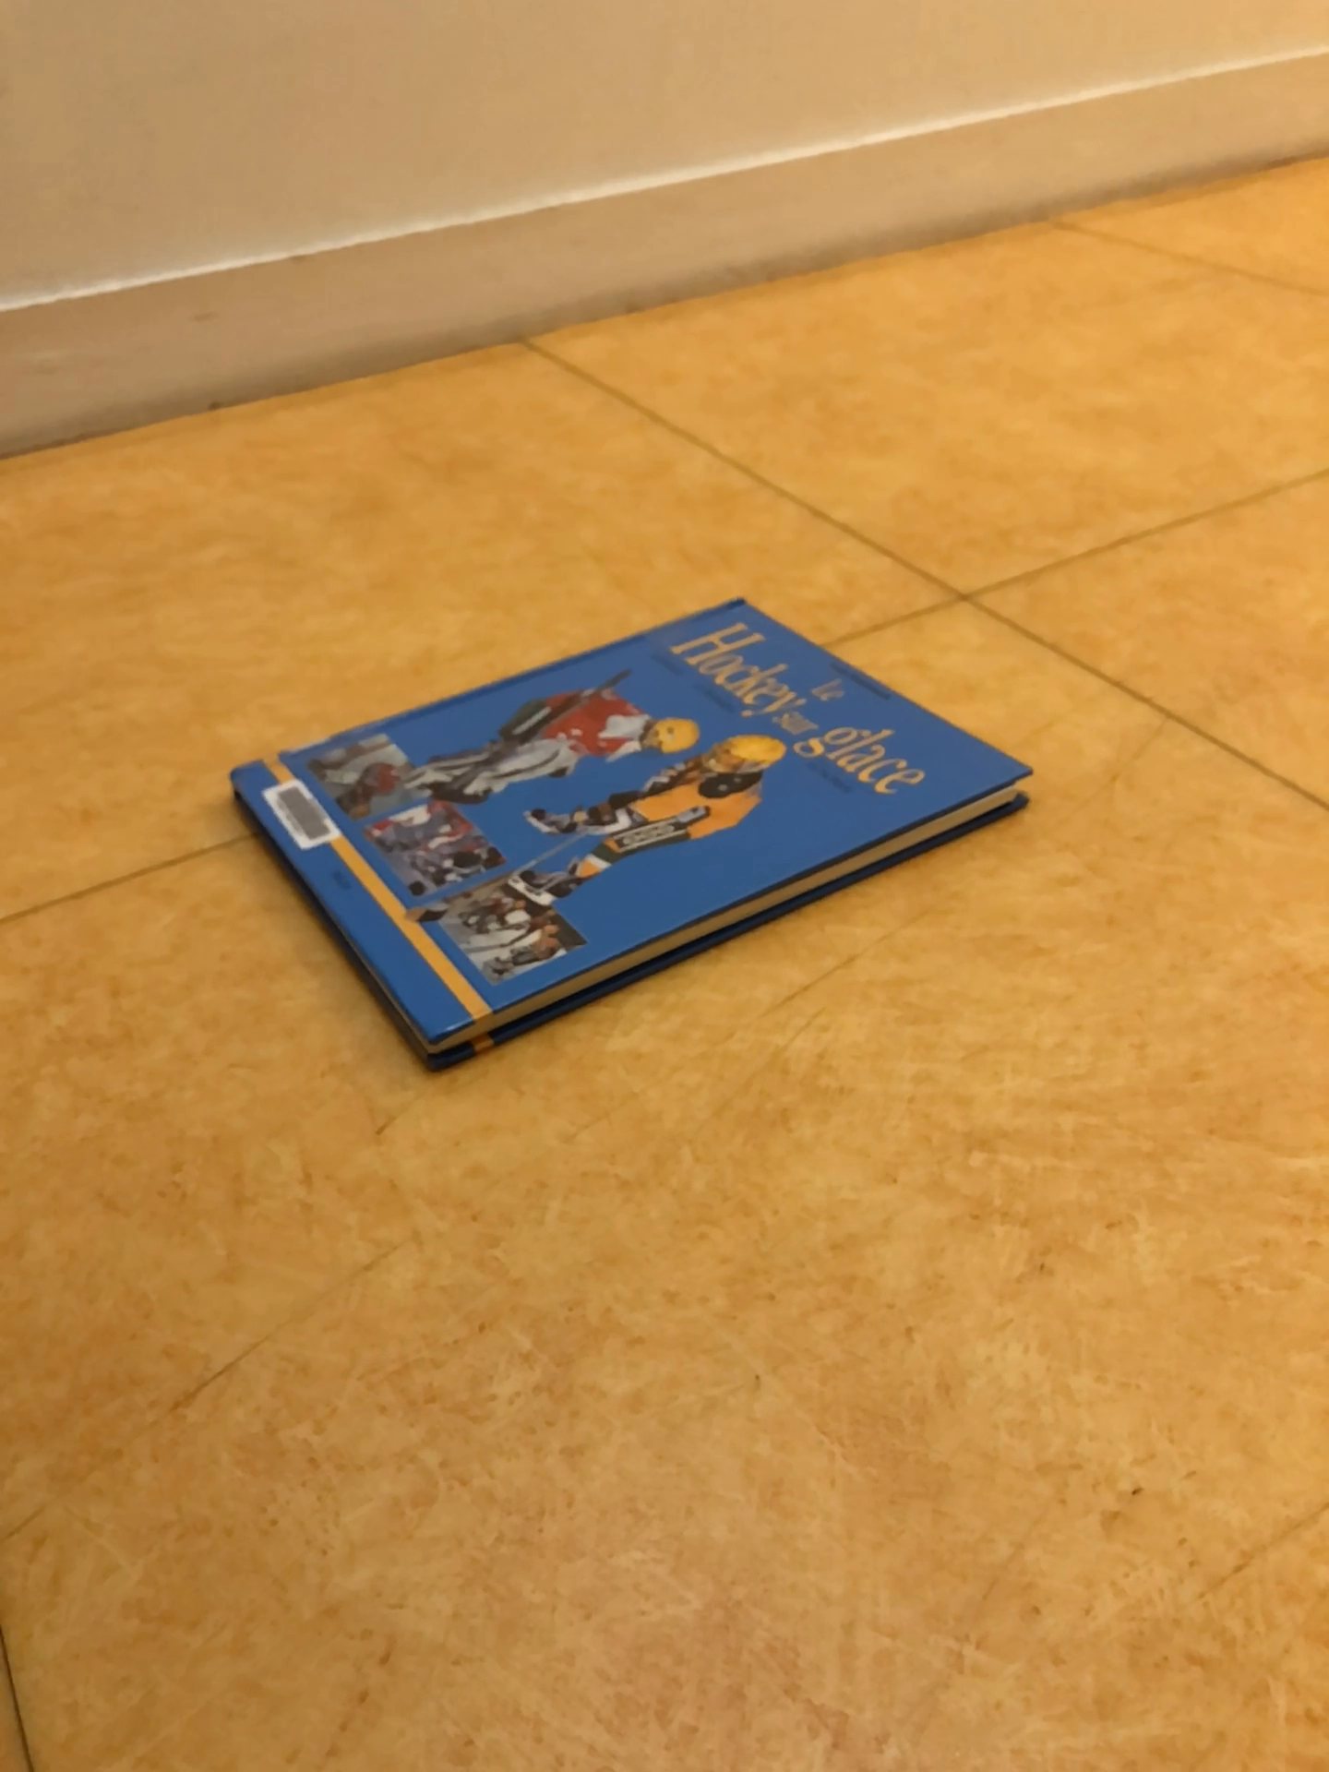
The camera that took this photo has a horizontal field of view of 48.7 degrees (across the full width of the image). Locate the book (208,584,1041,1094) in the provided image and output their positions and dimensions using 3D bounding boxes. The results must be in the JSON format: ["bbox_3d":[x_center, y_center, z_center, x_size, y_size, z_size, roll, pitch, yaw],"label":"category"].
[{"bbox_3d":[-0.021,-0.040,0.588,0.261,0.020,0.211,-23,41,-24],"label":"book"}]
